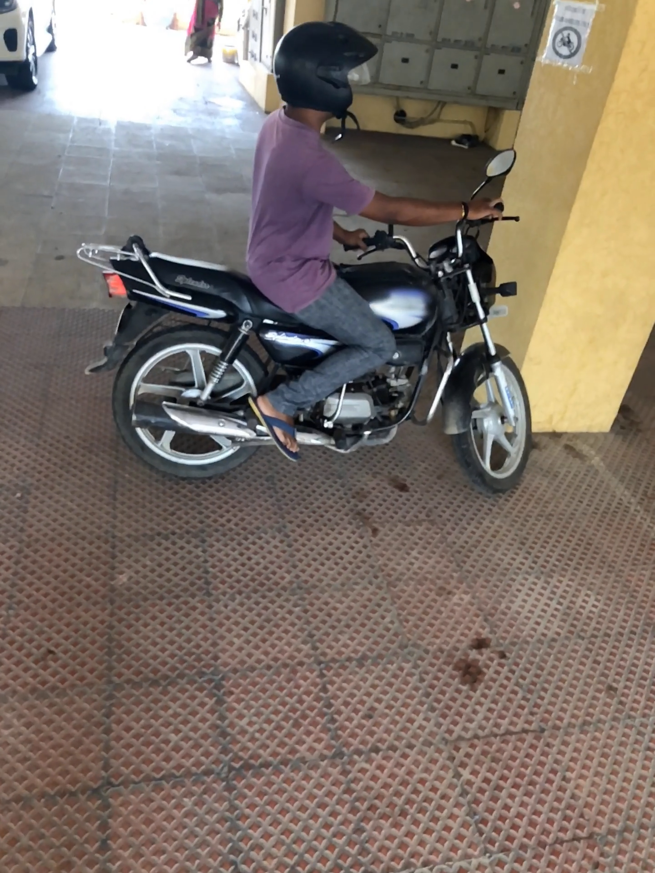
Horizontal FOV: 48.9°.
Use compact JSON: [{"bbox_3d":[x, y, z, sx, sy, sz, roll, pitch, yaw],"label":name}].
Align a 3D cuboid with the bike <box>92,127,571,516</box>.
[{"bbox_3d":[-0.056,-0.402,2.863,1.543,1.194,0.770,1,34,-15],"label":"bike"}]
